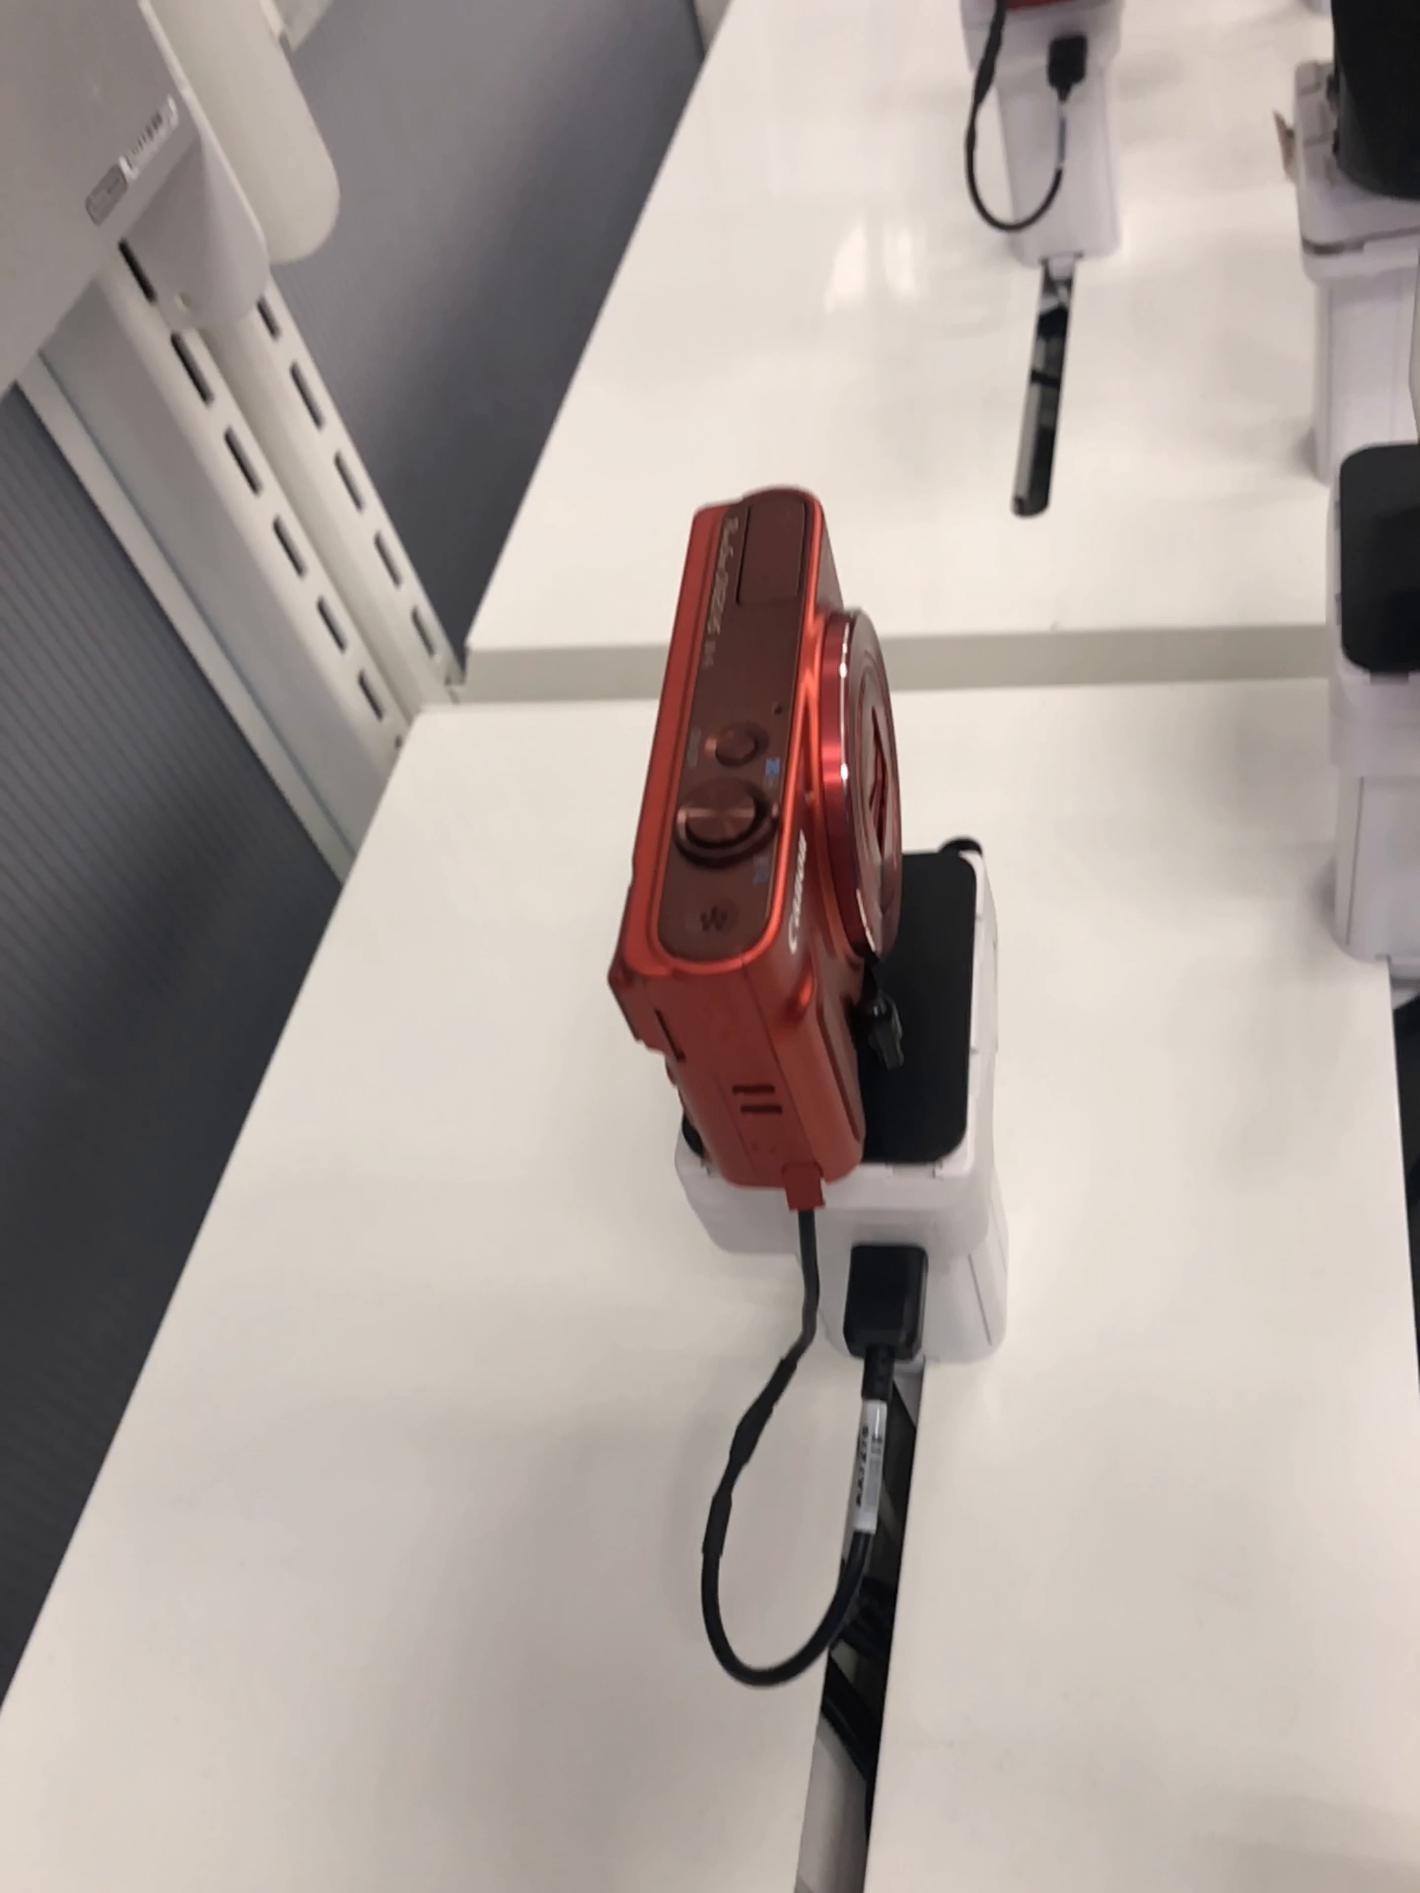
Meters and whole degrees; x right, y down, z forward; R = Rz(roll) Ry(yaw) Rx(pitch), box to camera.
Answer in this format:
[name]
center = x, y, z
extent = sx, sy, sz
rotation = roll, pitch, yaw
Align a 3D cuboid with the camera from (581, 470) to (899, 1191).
[camera]
center = 0.009, -0.019, 0.238
extent = 0.028, 0.053, 0.096
rotation = -4, 51, 15
